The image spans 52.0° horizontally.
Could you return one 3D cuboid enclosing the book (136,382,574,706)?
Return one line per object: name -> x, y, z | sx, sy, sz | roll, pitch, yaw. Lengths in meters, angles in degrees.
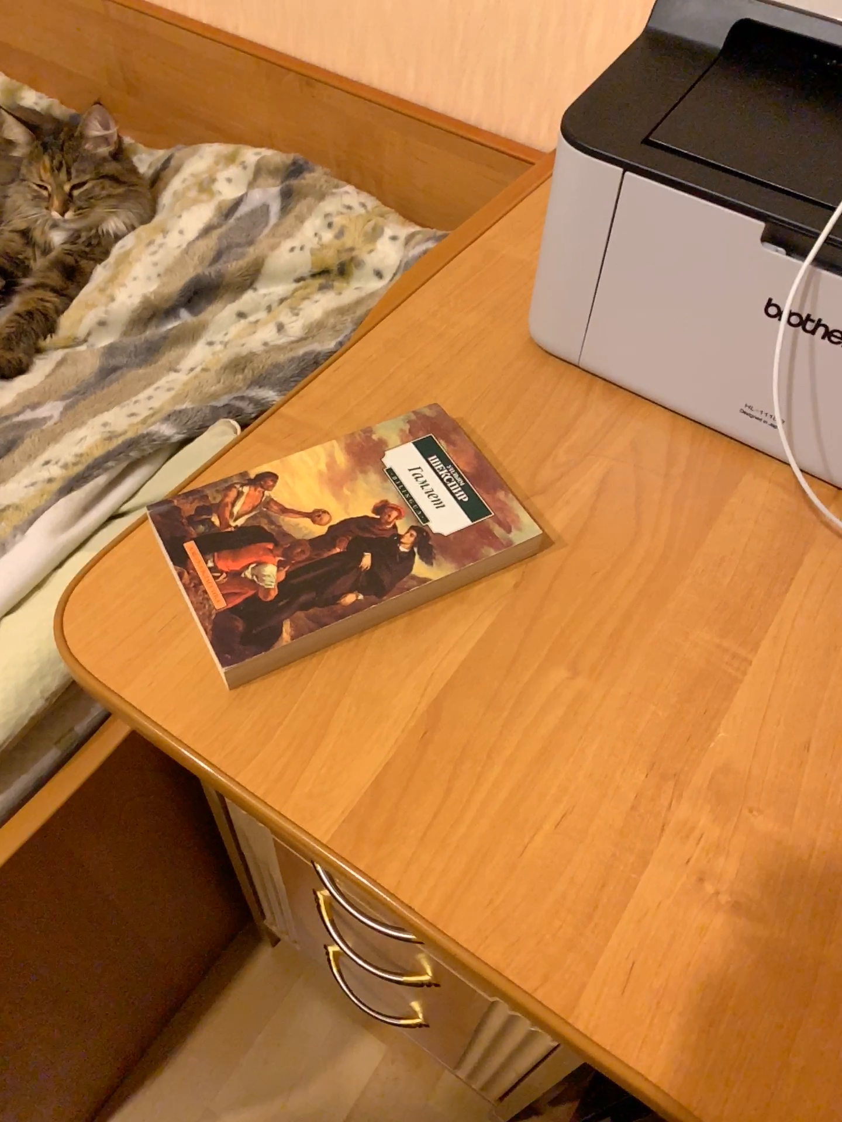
book -> -0.035, -0.018, 0.452 | 0.190, 0.030, 0.121 | -22, 57, -18
